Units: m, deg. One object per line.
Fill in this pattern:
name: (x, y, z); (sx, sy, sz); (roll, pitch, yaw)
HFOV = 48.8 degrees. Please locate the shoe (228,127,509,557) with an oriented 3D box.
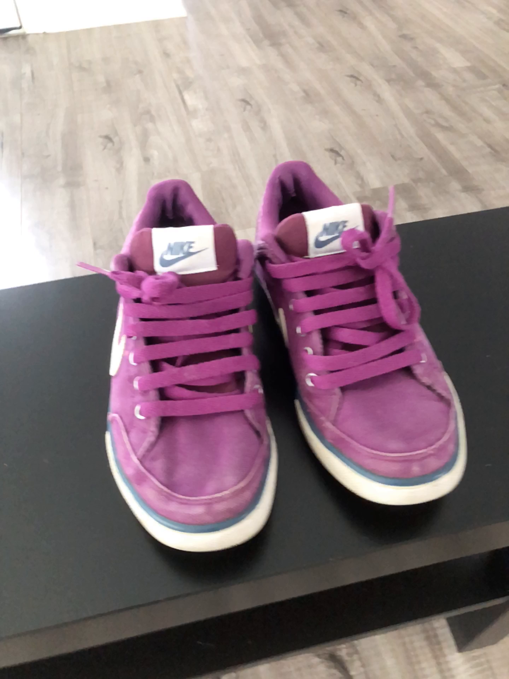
shoe: (0.058, -0.017, 0.348); (0.100, 0.100, 0.251); (-10, 49, -7)

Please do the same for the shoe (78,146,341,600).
shoe: (-0.039, 0.001, 0.328); (0.100, 0.100, 0.241); (-10, 49, -7)
